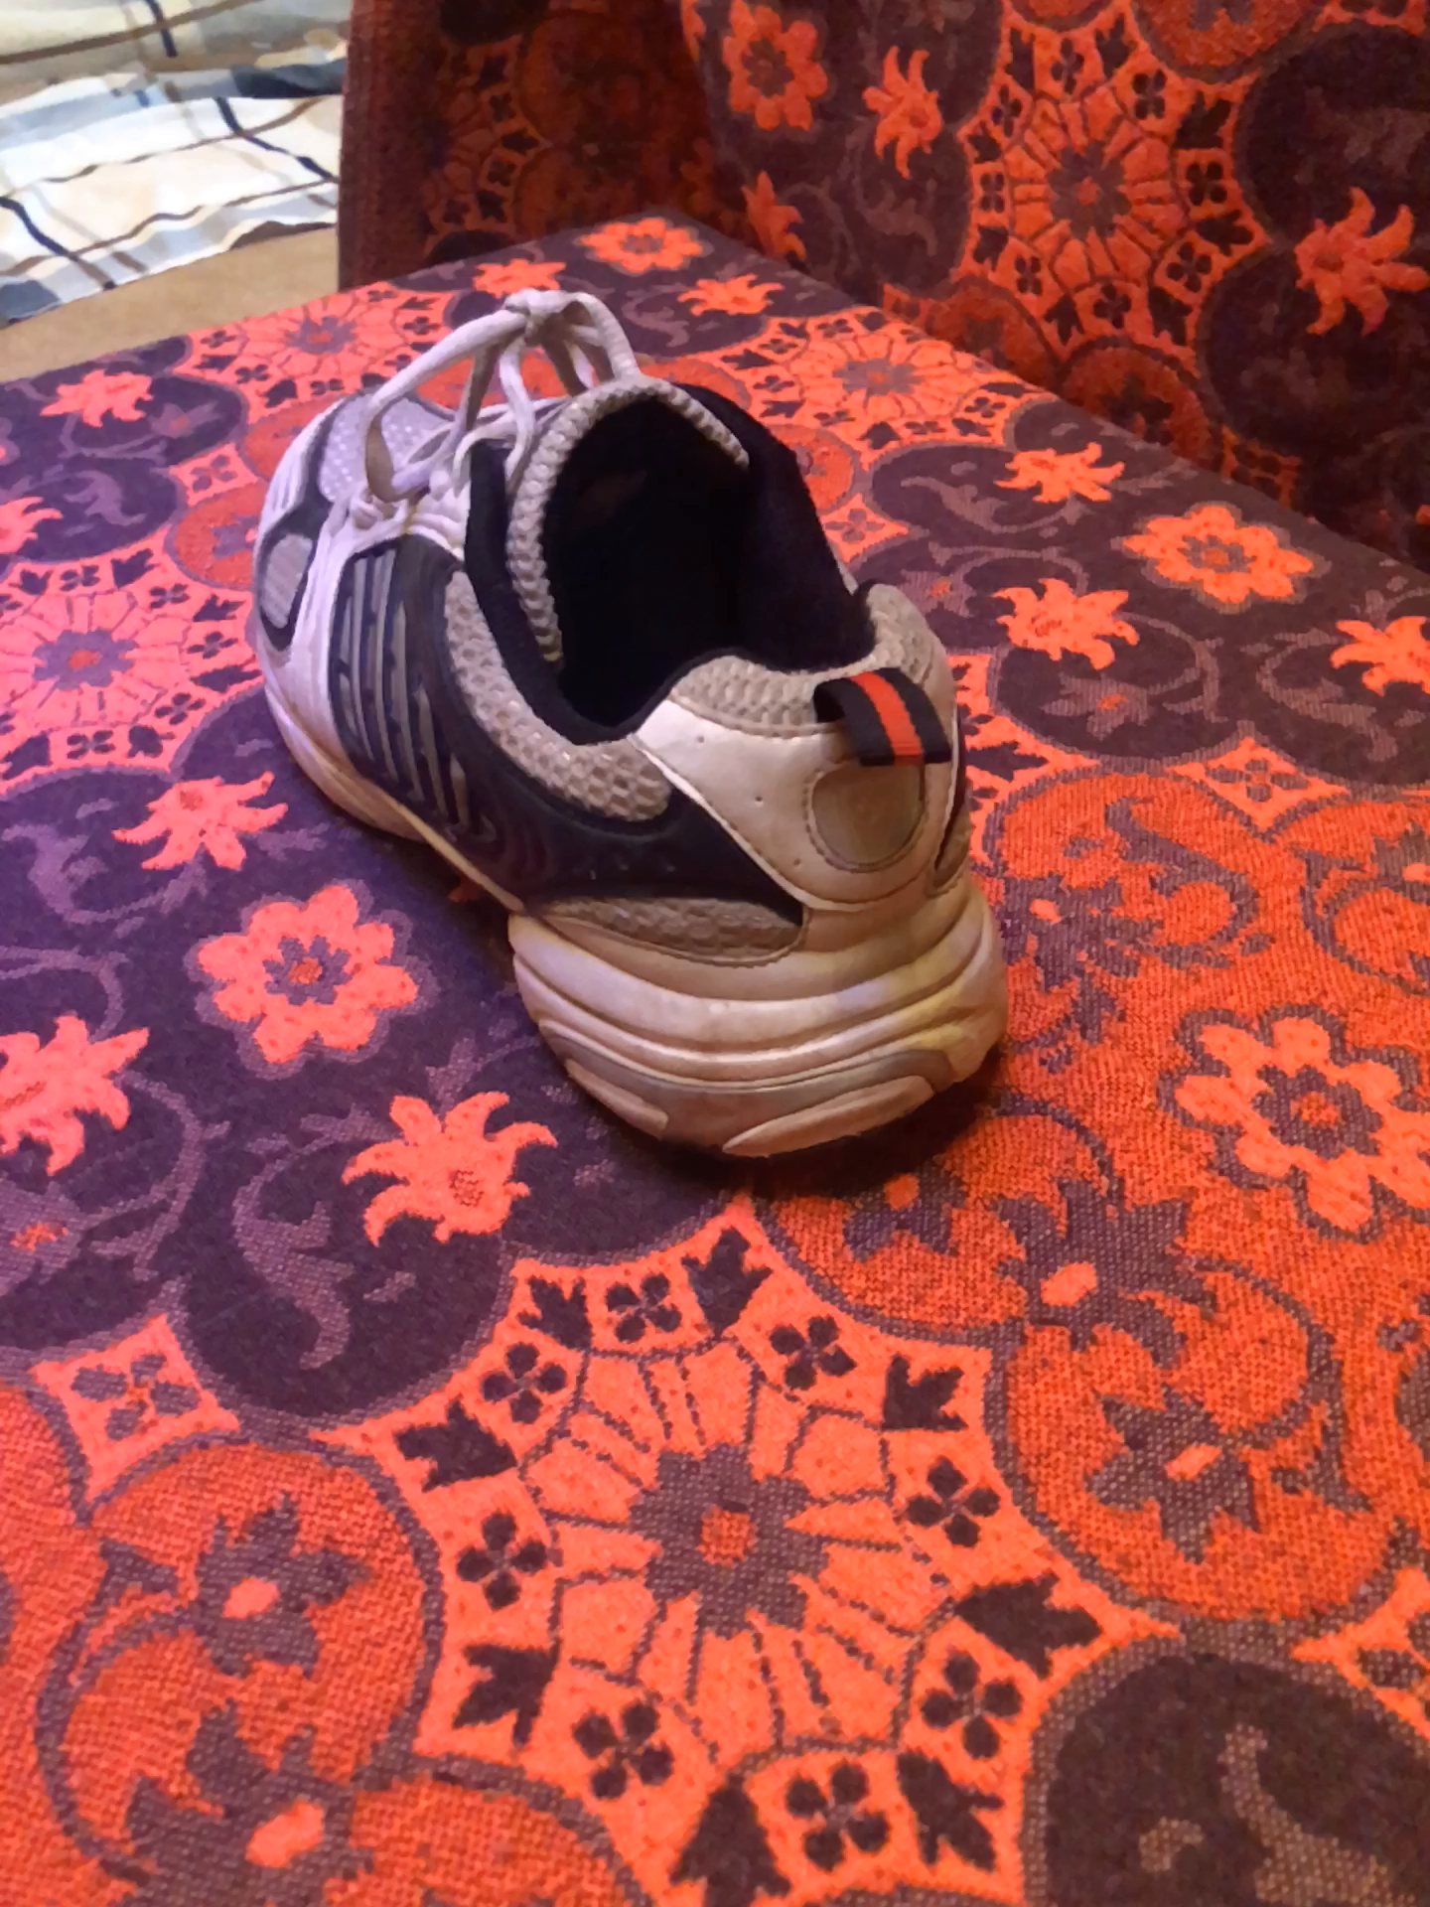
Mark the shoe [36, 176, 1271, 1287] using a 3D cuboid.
[{"bbox_3d":[-0.041,-0.084,0.371,0.120,0.090,0.311,-25,47,-23],"label":"shoe"}]
